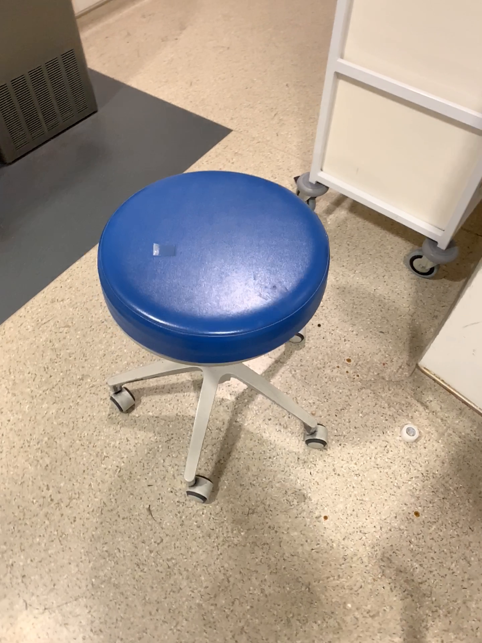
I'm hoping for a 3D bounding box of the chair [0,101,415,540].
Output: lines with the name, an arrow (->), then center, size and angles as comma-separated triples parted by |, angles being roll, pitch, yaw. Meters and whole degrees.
chair -> -0.059, 0.018, 1.110 | 0.581, 0.635, 0.573 | 22, 58, 13
